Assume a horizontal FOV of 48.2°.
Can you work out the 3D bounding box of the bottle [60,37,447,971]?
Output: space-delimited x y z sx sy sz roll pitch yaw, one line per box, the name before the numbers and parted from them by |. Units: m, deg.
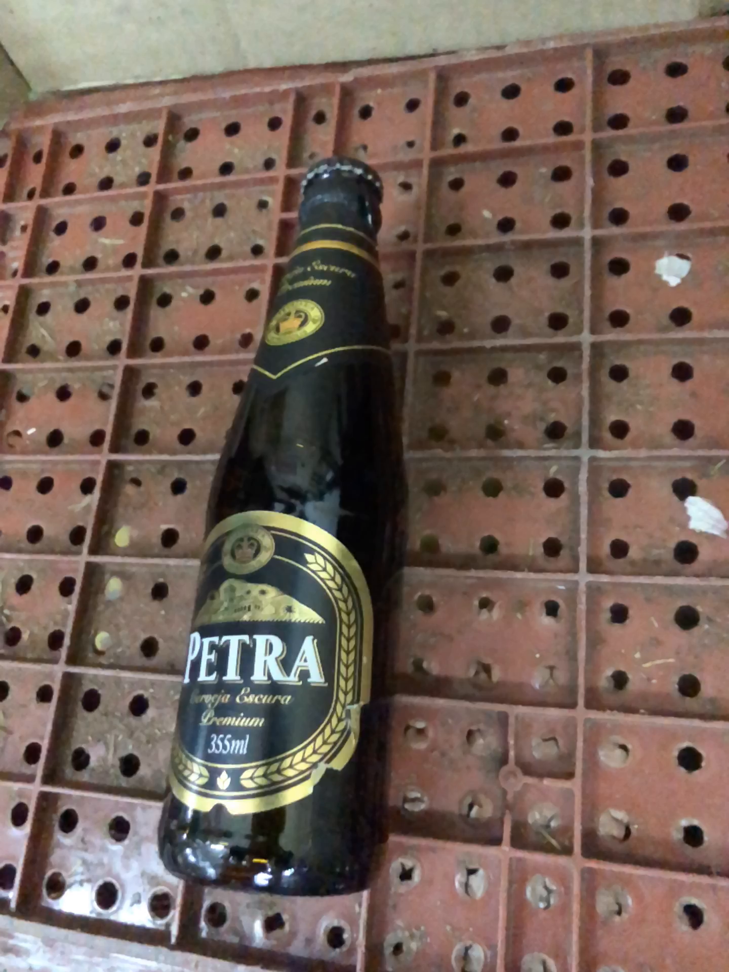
bottle | -0.019 -0.006 0.242 0.070 0.060 0.250 -2 71 16
